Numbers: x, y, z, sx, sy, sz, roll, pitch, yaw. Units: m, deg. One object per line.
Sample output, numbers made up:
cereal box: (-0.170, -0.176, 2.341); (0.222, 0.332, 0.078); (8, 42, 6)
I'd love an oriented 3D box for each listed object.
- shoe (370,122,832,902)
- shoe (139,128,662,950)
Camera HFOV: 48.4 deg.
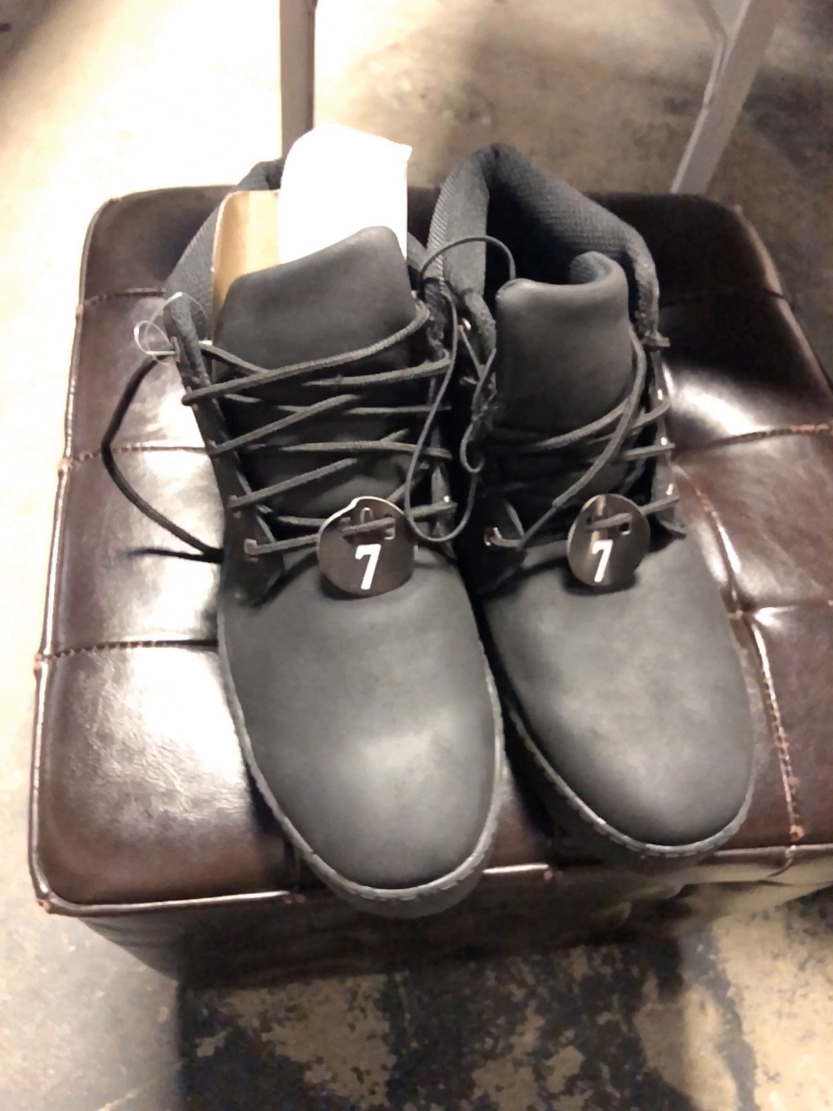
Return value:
shoe: (0.063, -0.017, 0.326); (0.100, 0.139, 0.221); (-10, 61, -13)
shoe: (-0.027, -0.012, 0.347); (0.100, 0.139, 0.261); (-10, 61, -13)
